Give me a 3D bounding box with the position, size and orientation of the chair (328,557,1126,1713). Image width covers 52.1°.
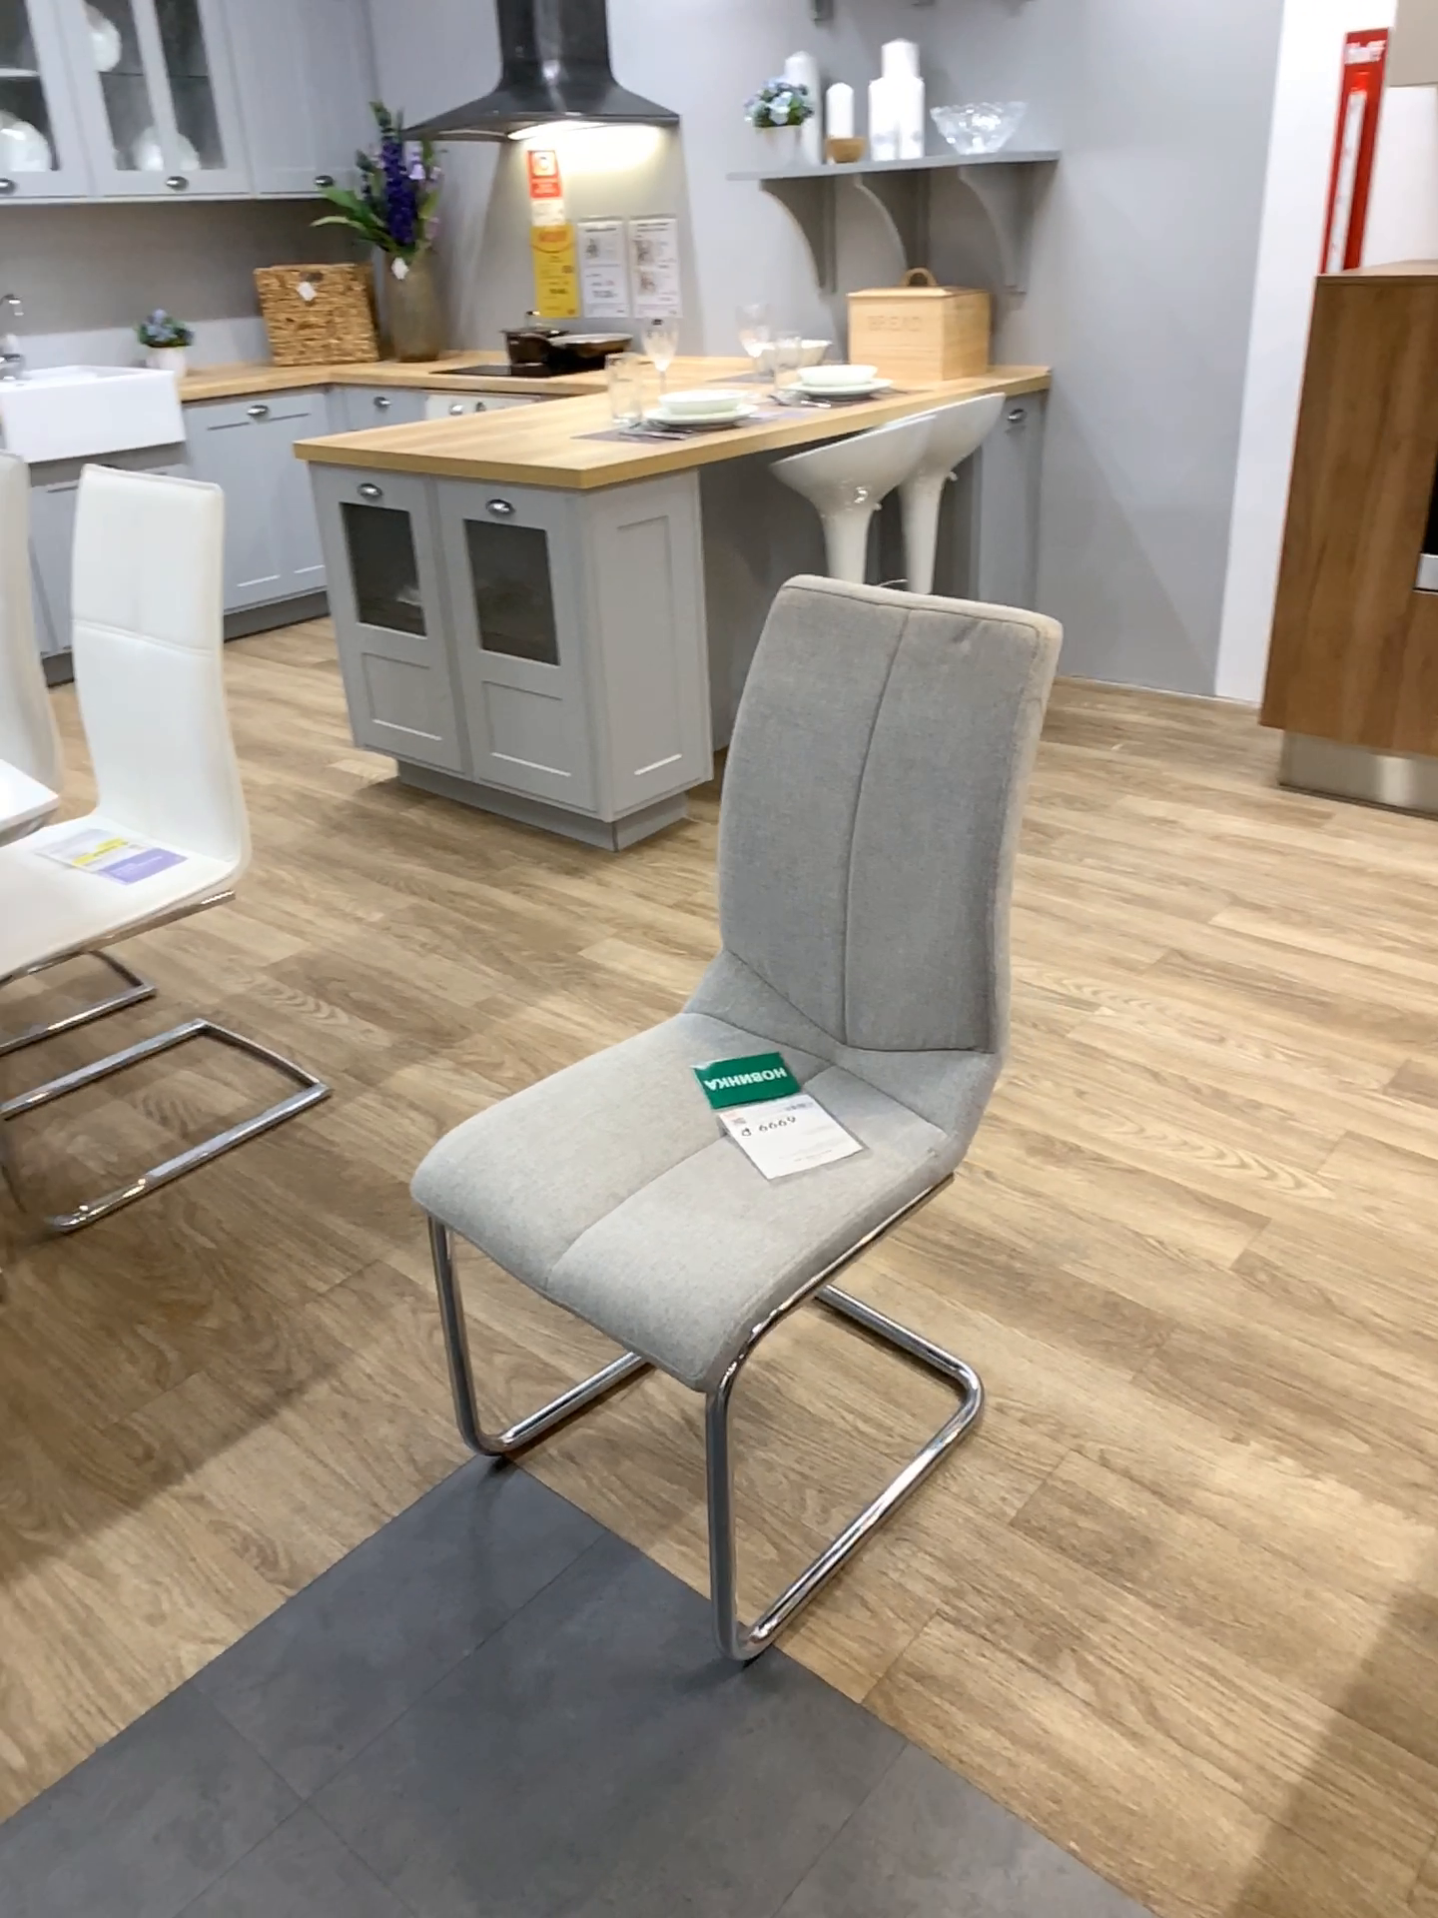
[{"bbox_3d":[0.035,0.143,1.592,0.491,0.985,0.572,21,35,39],"label":"chair"}]
